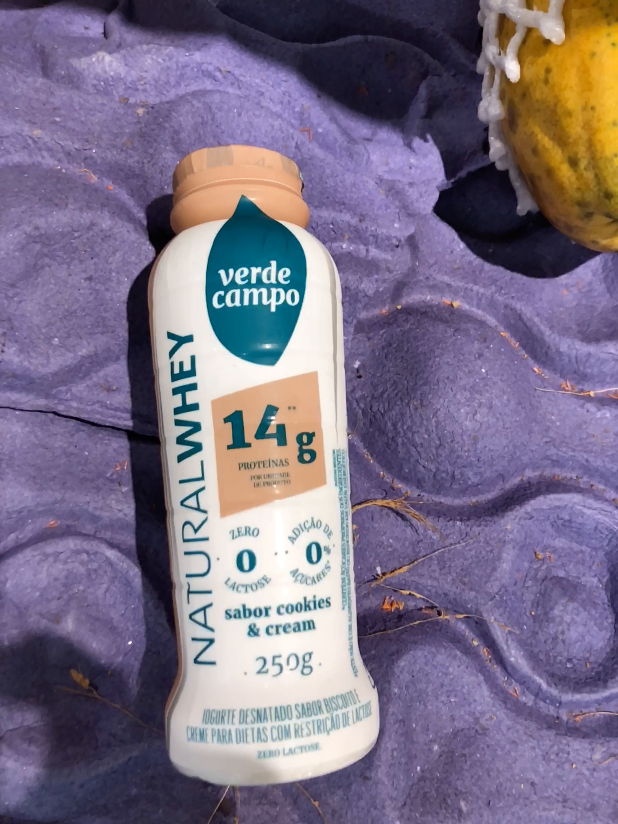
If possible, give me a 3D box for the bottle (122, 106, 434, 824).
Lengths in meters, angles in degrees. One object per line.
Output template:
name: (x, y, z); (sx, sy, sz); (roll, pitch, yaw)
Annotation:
bottle: (-0.013, 0.008, 0.179); (0.060, 0.040, 0.160); (-3, 81, -17)
